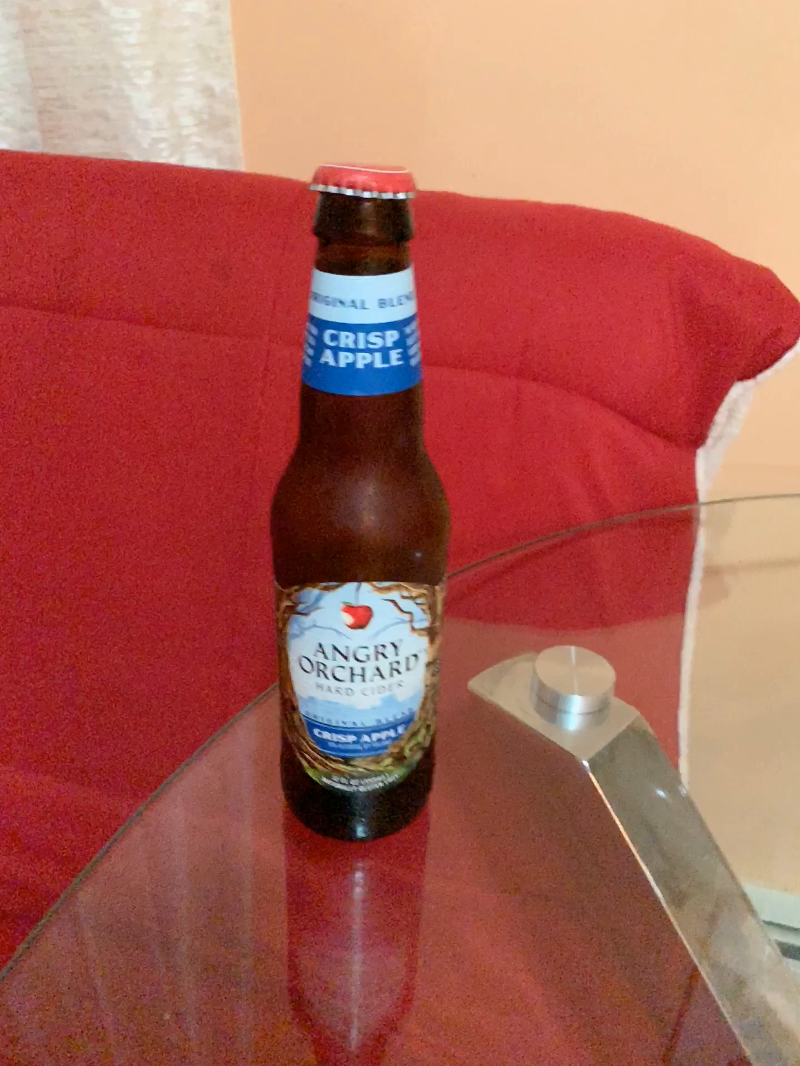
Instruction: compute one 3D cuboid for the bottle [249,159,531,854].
[{"bbox_3d":[-0.011,0.000,0.287,0.070,0.231,0.070,3,27,-1],"label":"bottle"}]
